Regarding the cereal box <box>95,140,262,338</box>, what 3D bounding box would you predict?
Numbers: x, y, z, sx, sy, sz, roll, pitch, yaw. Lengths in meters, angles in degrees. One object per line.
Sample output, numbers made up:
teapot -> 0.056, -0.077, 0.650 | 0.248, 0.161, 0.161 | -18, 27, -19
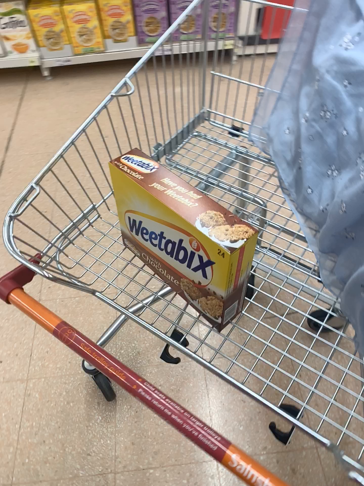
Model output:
cereal box -> -0.015, -0.006, 0.551 | 0.060, 0.188, 0.251 | -36, 59, -26
